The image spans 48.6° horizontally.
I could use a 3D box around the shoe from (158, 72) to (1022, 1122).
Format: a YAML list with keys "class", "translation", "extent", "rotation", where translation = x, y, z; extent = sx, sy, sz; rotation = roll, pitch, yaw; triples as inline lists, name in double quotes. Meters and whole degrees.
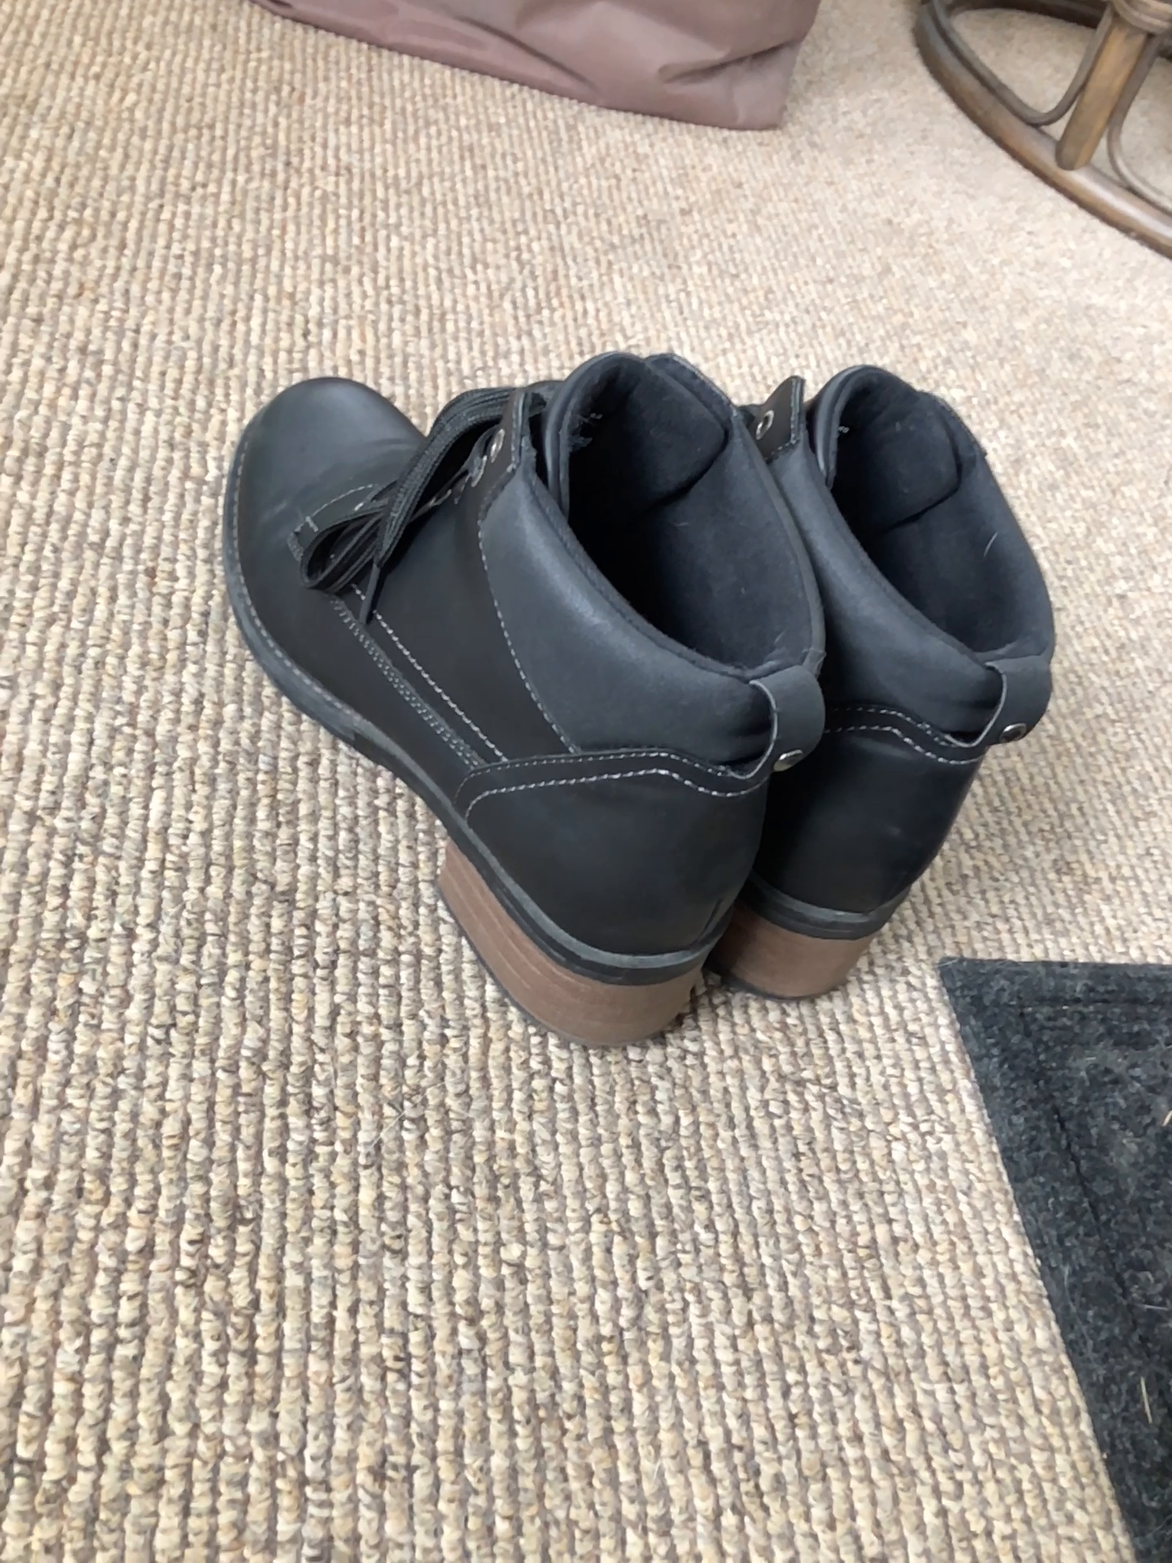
- class: "shoe"
  translation: [-0.028, -0.064, 0.401]
  extent: [0.097, 0.165, 0.267]
  rotation: [-16, 59, -34]

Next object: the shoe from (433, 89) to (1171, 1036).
- class: "shoe"
  translation: [0.053, -0.081, 0.446]
  extent: [0.095, 0.161, 0.273]
  rotation: [-7, 55, -29]
